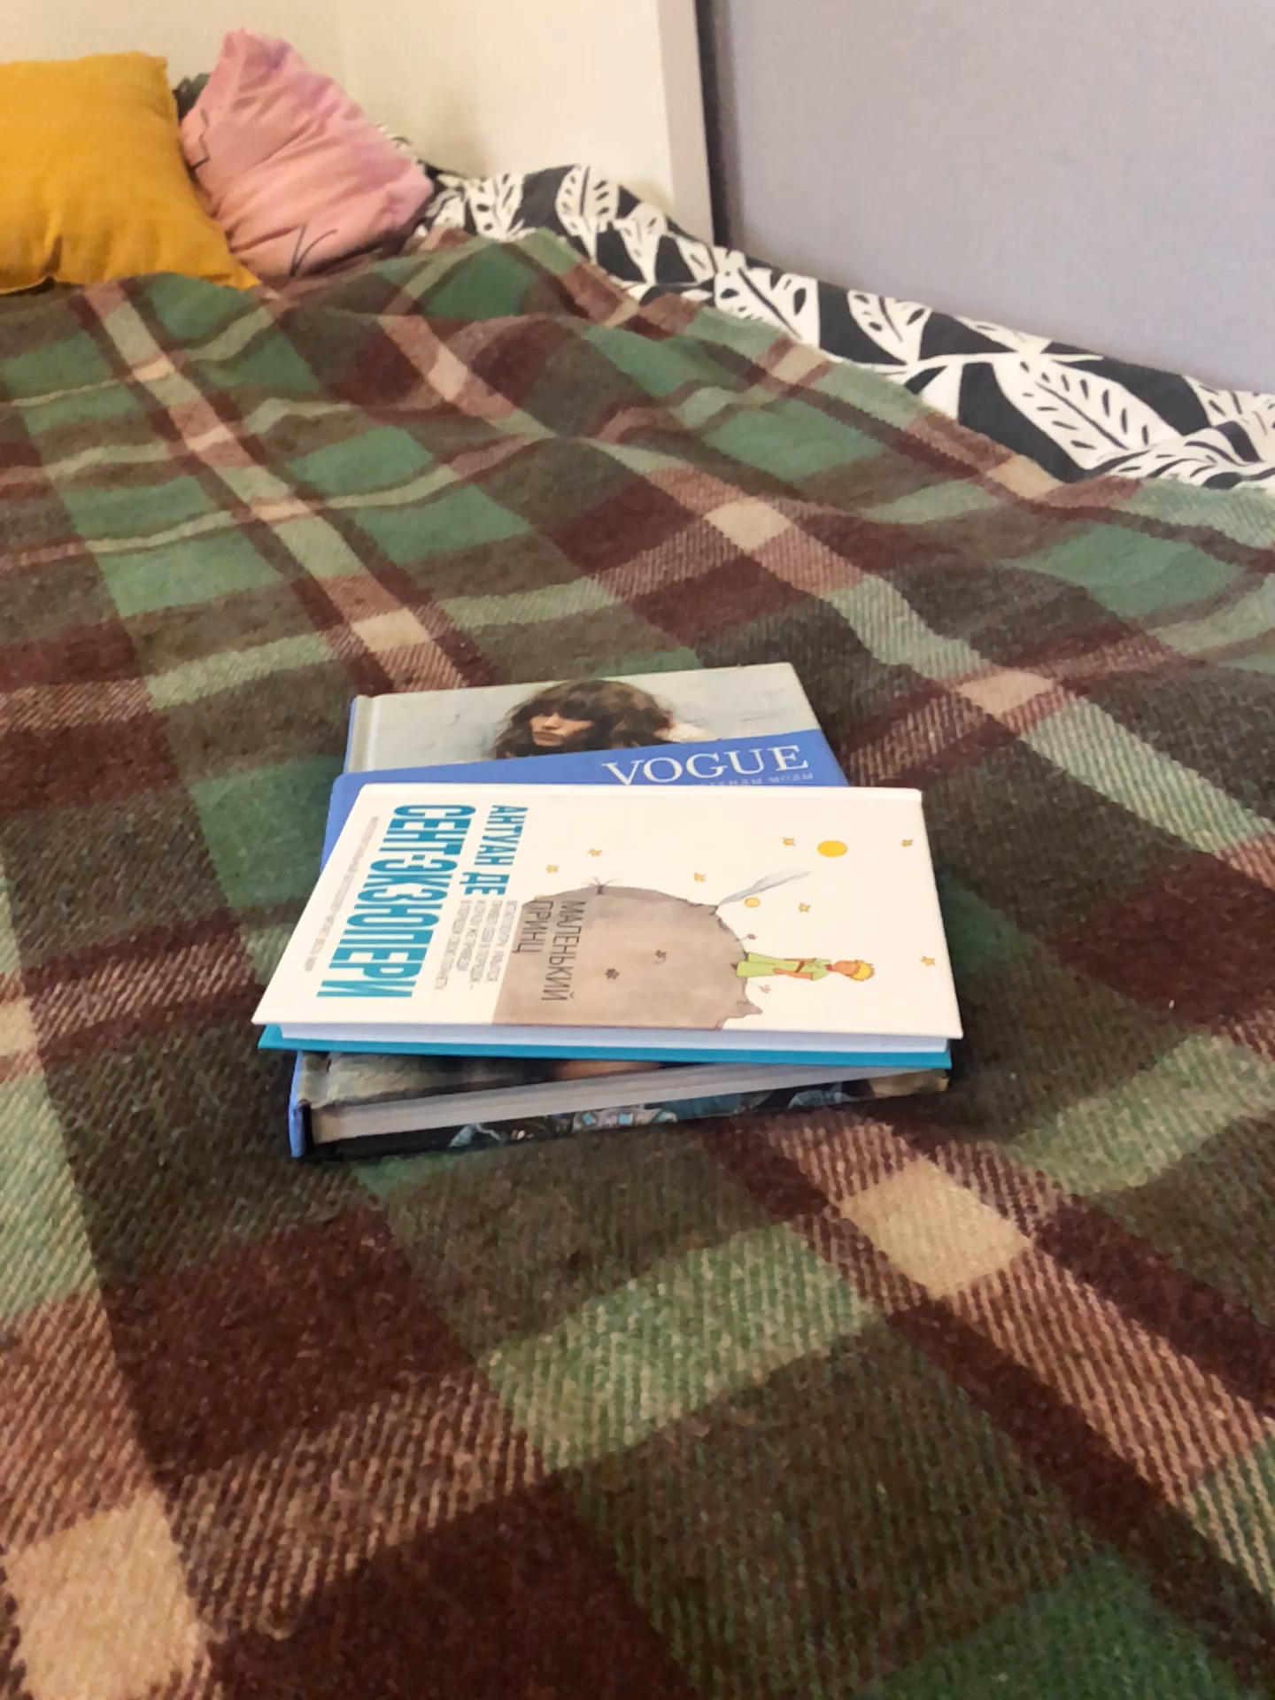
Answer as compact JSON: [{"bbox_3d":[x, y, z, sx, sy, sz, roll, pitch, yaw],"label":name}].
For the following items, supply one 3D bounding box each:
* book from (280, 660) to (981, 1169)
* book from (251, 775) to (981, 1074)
[{"bbox_3d":[-0.013,0.002,0.458,0.174,0.023,0.241,-5,31,-5],"label":"book"},{"bbox_3d":[-0.002,0.014,0.383,0.170,0.014,0.120,1,31,4],"label":"book"}]
